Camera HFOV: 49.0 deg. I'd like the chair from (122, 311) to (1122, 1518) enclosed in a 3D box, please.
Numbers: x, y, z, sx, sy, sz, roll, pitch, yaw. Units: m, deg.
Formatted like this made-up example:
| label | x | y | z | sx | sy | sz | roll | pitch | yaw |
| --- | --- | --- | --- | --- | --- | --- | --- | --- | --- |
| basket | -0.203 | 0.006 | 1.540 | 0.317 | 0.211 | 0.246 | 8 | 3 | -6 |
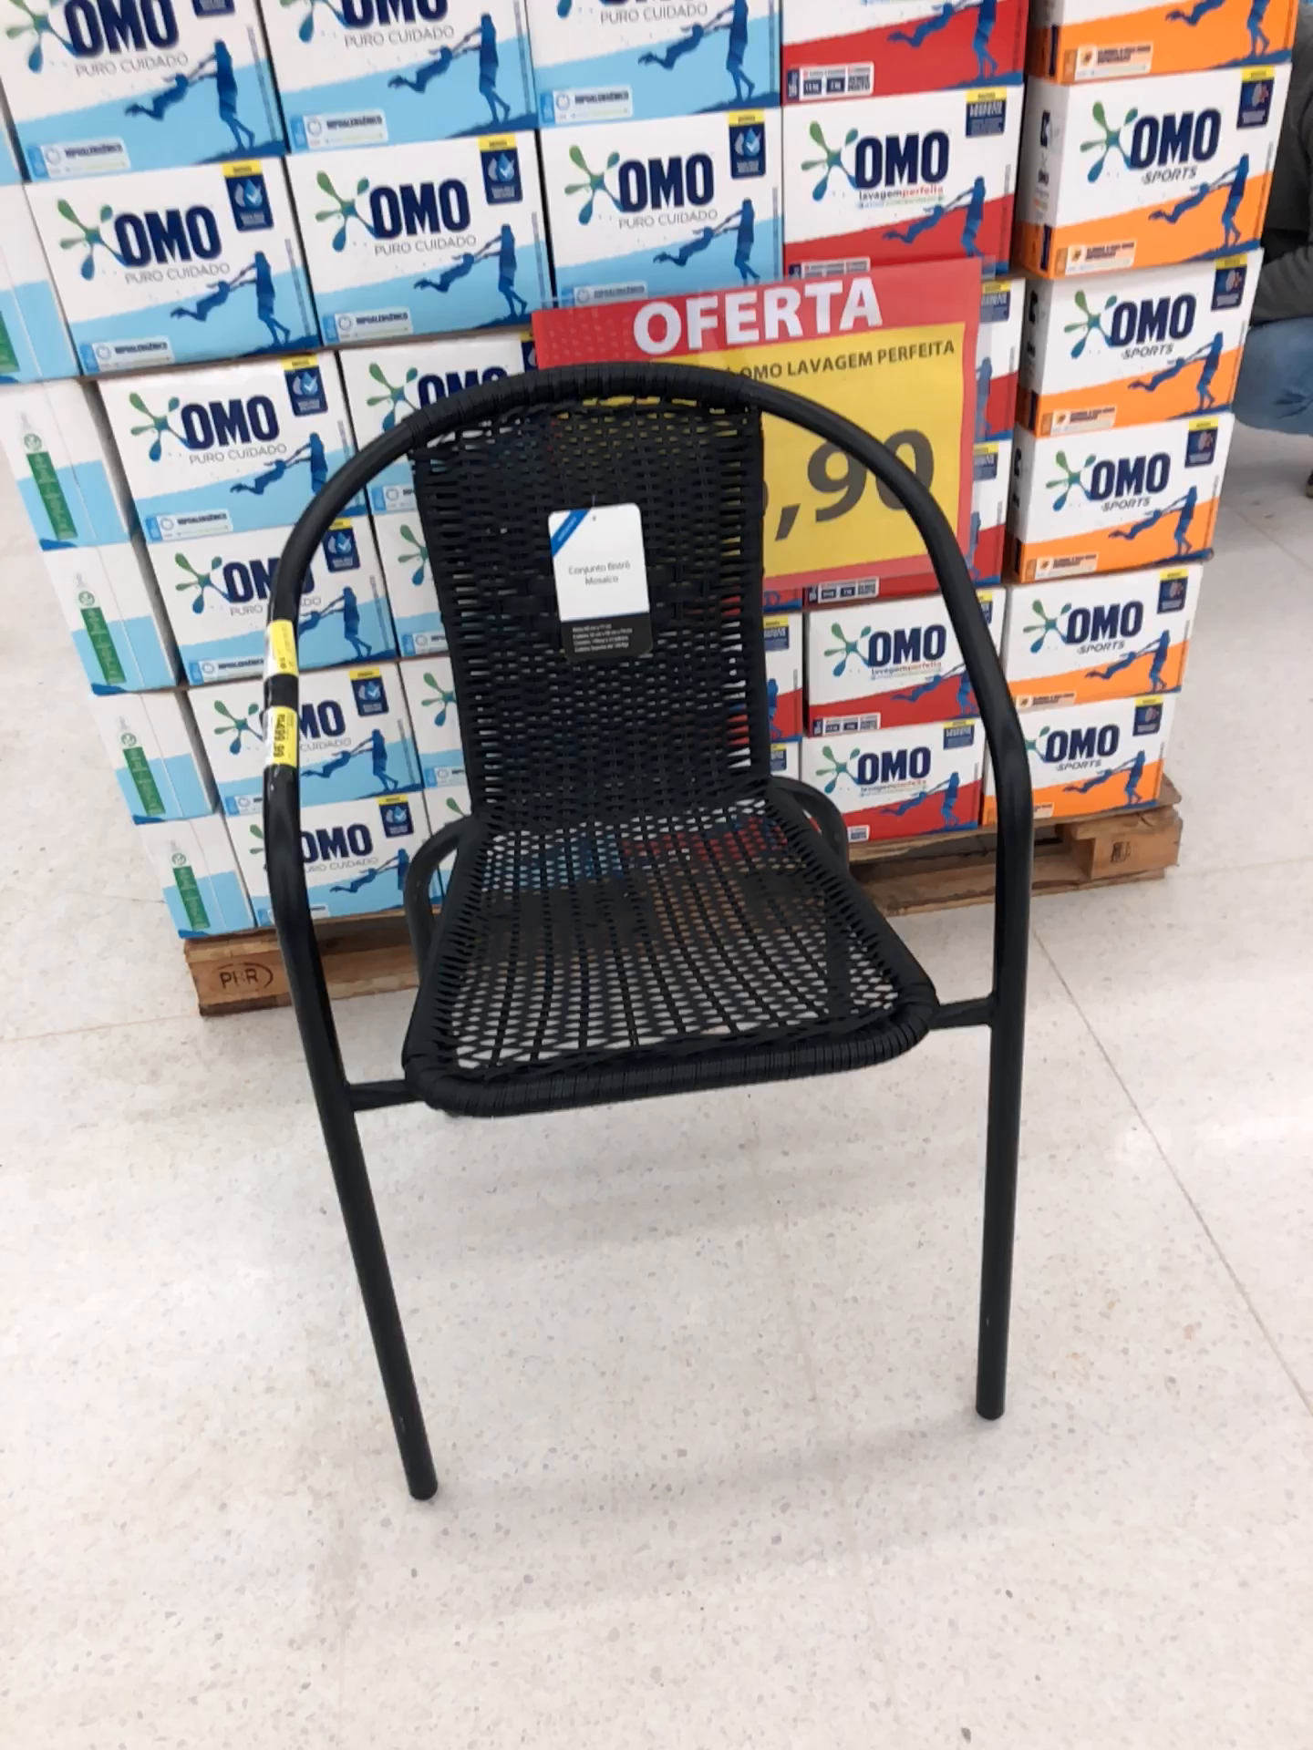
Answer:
| label | x | y | z | sx | sy | sz | roll | pitch | yaw |
| --- | --- | --- | --- | --- | --- | --- | --- | --- | --- |
| chair | -0.017 | 0.025 | 1.126 | 0.500 | 0.725 | 0.504 | -8 | 35 | -4 |
